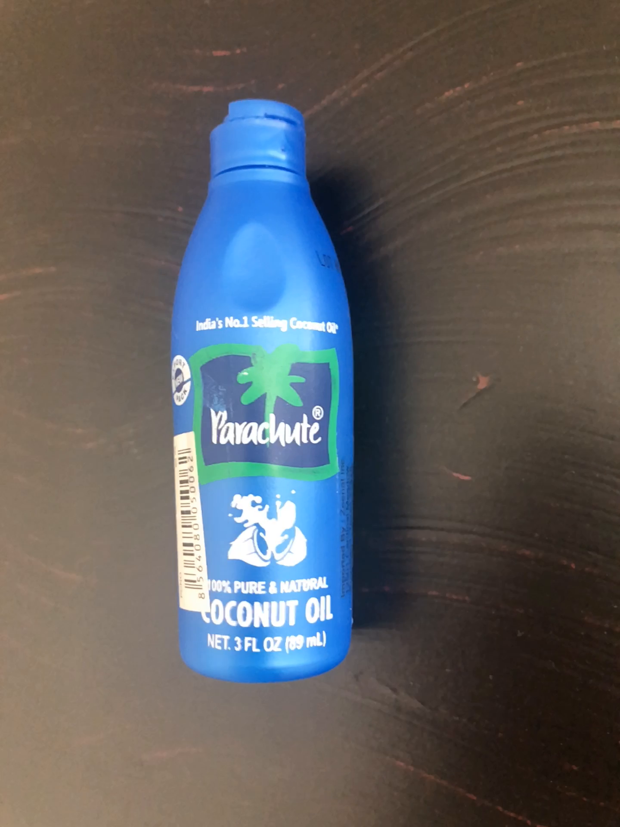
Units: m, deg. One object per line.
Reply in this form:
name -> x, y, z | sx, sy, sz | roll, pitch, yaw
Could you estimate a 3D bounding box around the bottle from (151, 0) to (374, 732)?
bottle -> -0.010, -0.013, 0.149 | 0.040, 0.040, 0.140 | 0, 88, -4
